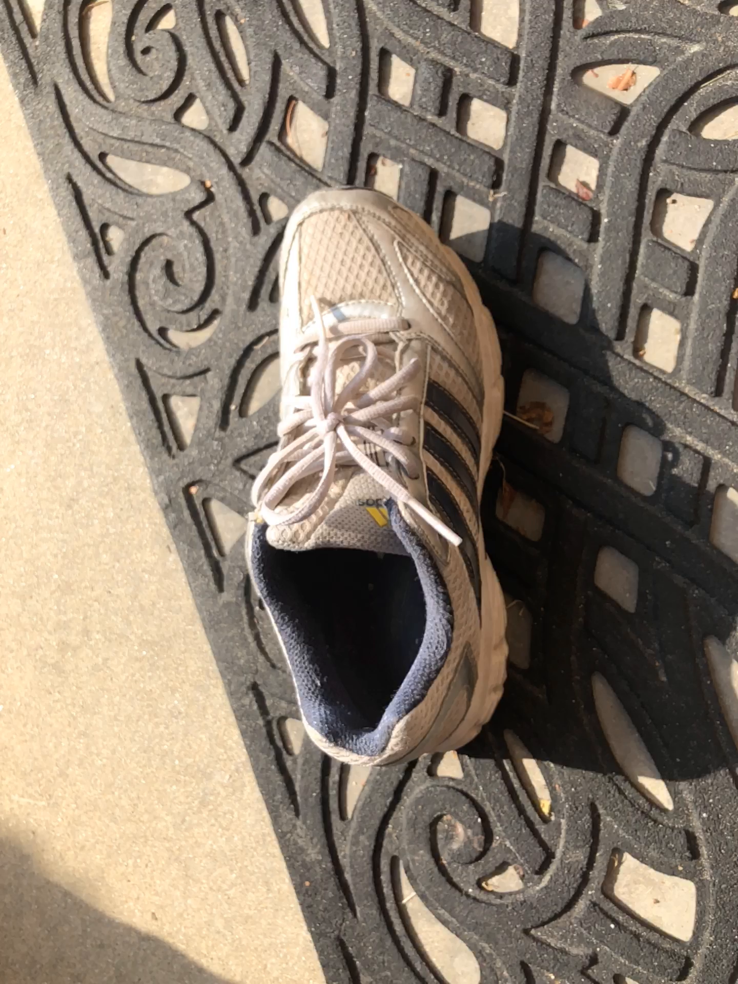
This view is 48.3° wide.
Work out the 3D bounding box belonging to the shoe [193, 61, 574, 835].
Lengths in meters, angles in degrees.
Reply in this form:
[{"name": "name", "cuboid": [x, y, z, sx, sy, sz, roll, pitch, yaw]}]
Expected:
[{"name": "shoe", "cuboid": [0.014, -0.011, 0.354, 0.100, 0.130, 0.260, -7, 86, 23]}]
